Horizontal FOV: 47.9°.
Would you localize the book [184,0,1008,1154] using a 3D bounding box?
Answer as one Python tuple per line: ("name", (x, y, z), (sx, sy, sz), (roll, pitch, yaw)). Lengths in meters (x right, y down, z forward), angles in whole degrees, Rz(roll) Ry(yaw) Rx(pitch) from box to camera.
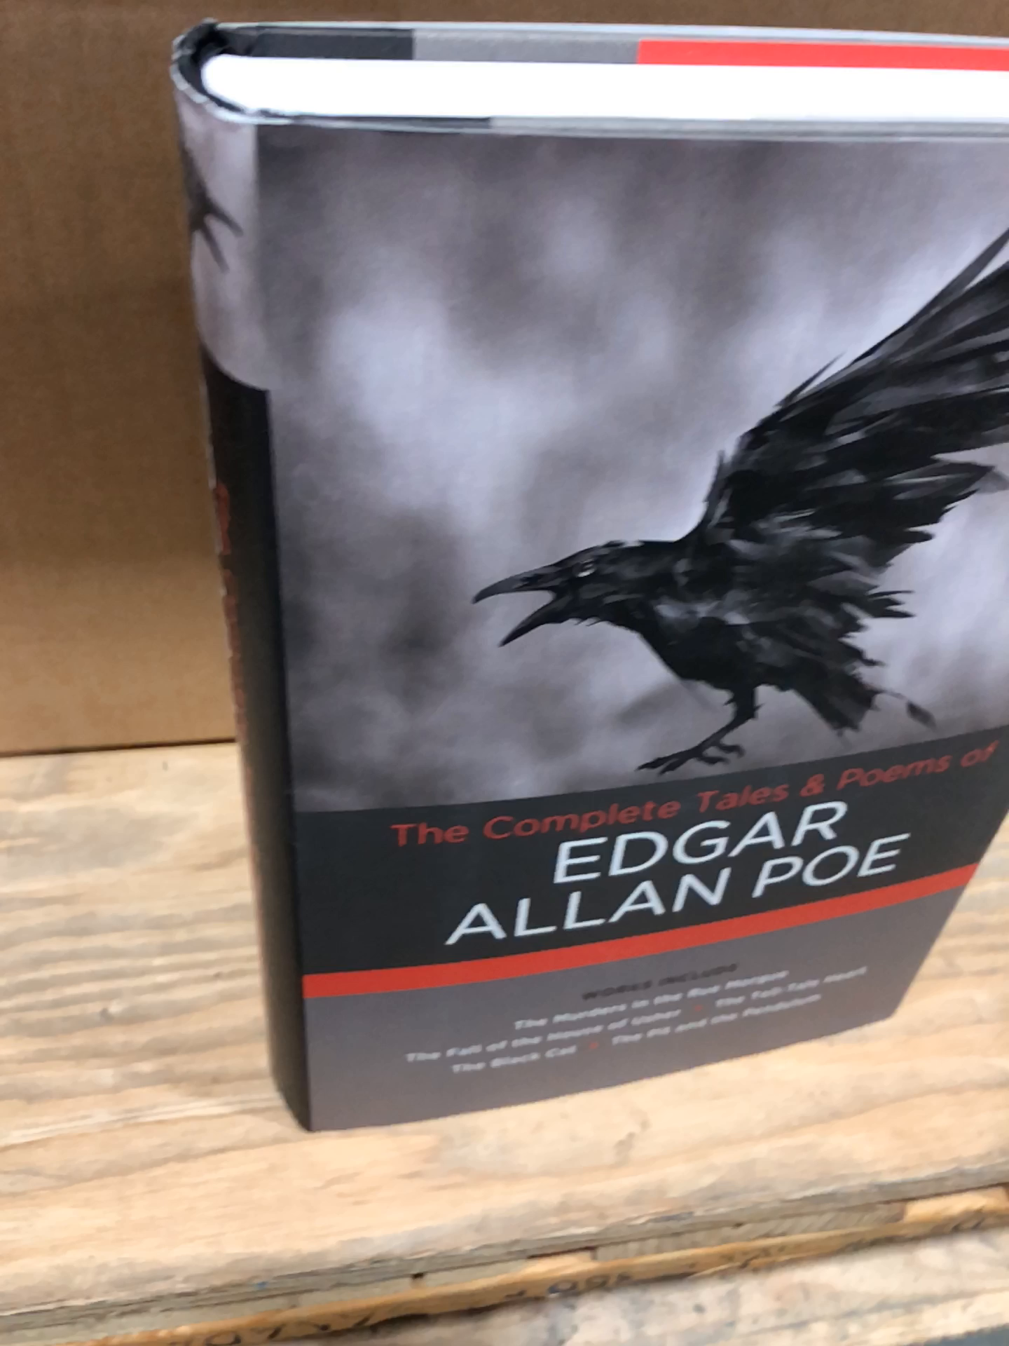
("book", (0.034, 0.003, 0.241), (0.171, 0.240, 0.054), (-6, 43, -14))
